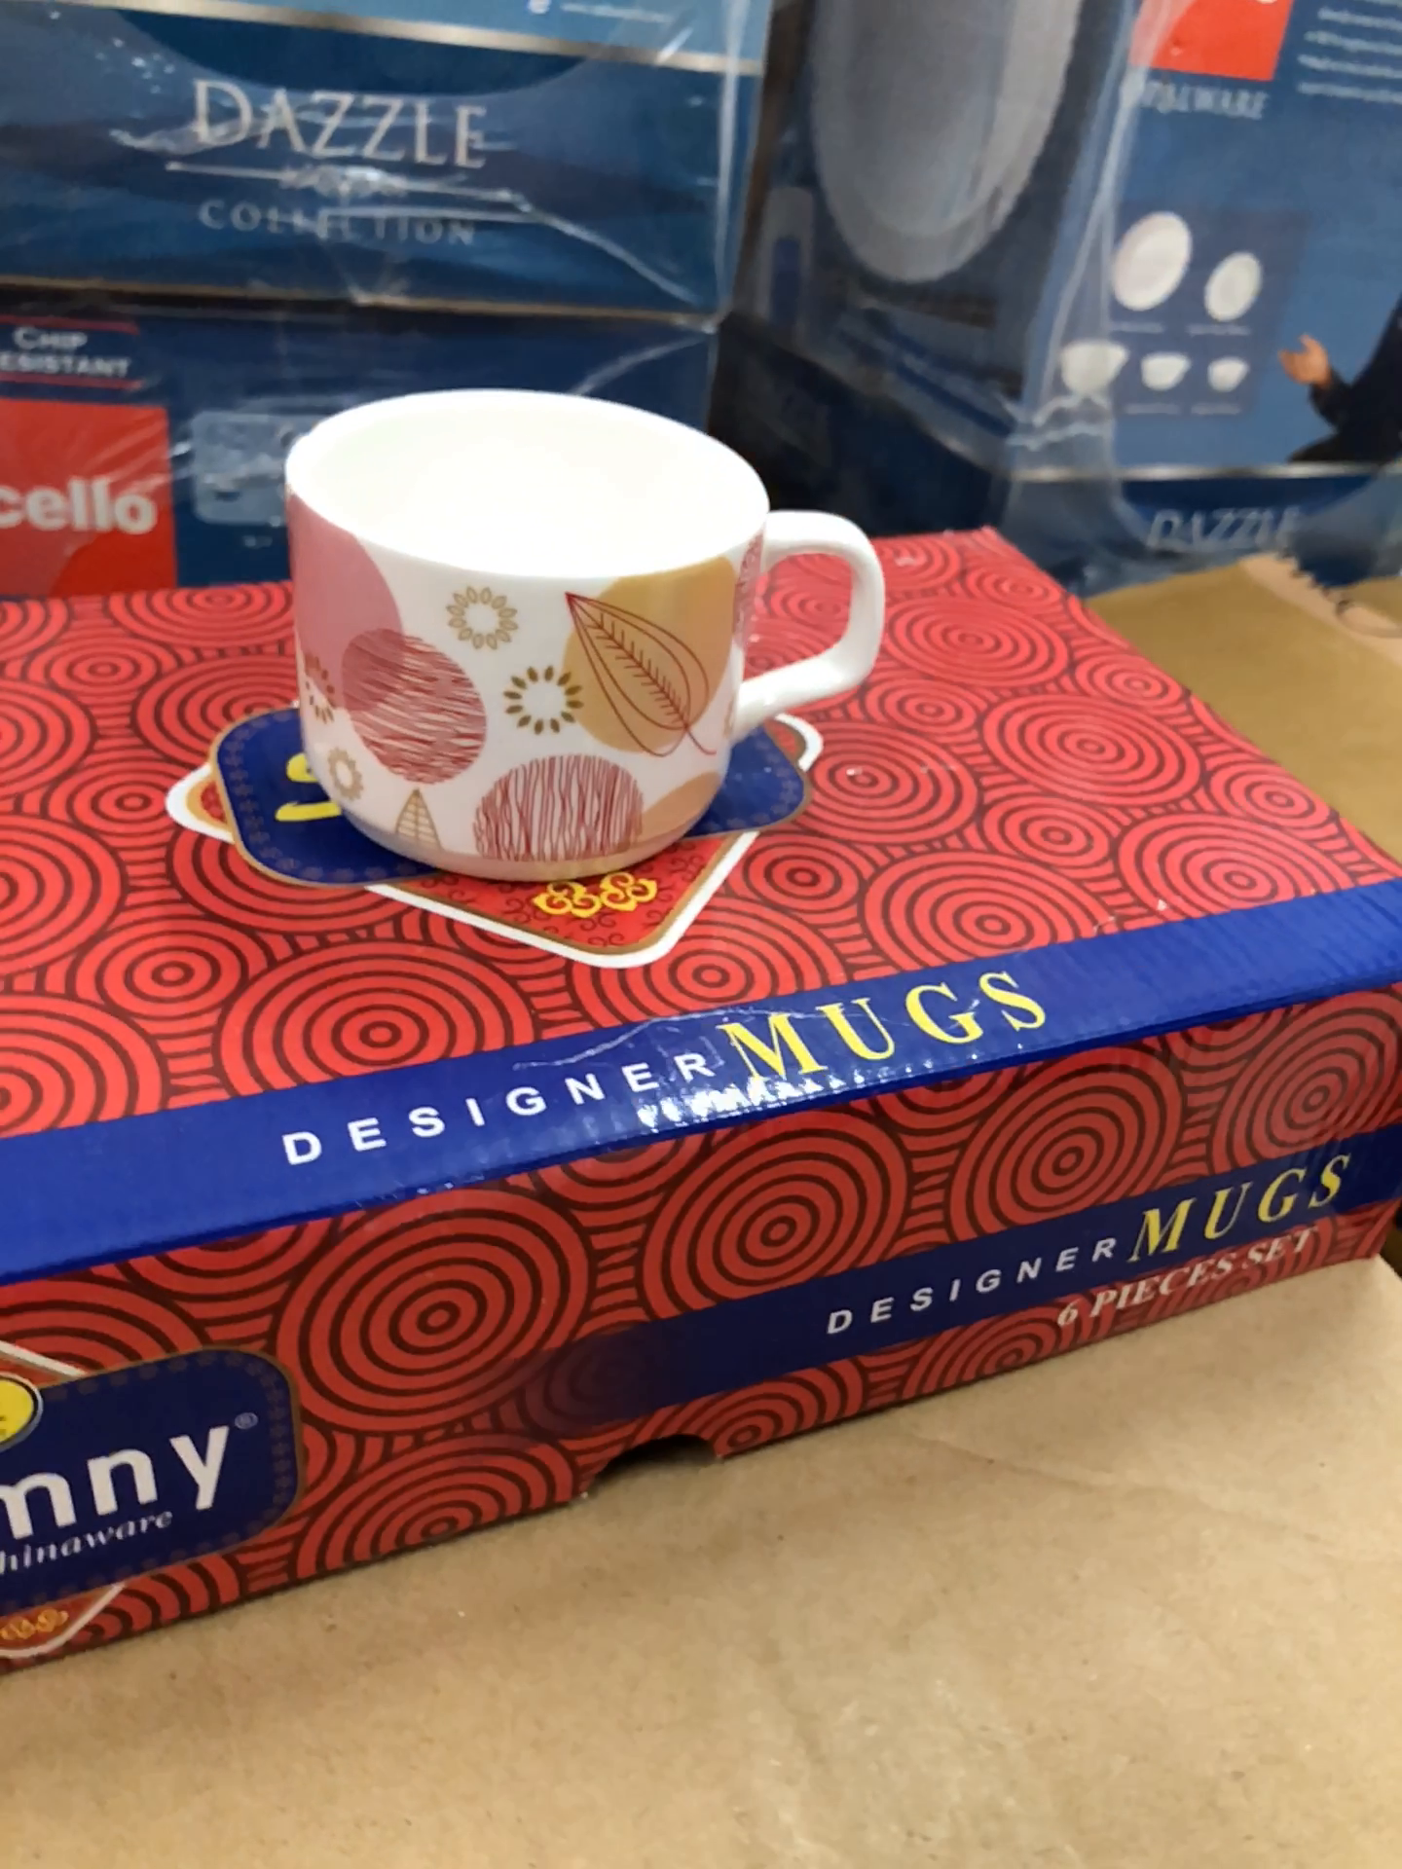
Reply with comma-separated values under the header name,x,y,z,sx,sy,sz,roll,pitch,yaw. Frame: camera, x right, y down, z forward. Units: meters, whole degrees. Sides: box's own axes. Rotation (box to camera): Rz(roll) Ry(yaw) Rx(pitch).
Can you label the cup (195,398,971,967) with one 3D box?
name,x,y,z,sx,sy,sz,roll,pitch,yaw
cup,-0.022,-0.040,0.227,0.090,0.050,0.070,-5,36,-20
